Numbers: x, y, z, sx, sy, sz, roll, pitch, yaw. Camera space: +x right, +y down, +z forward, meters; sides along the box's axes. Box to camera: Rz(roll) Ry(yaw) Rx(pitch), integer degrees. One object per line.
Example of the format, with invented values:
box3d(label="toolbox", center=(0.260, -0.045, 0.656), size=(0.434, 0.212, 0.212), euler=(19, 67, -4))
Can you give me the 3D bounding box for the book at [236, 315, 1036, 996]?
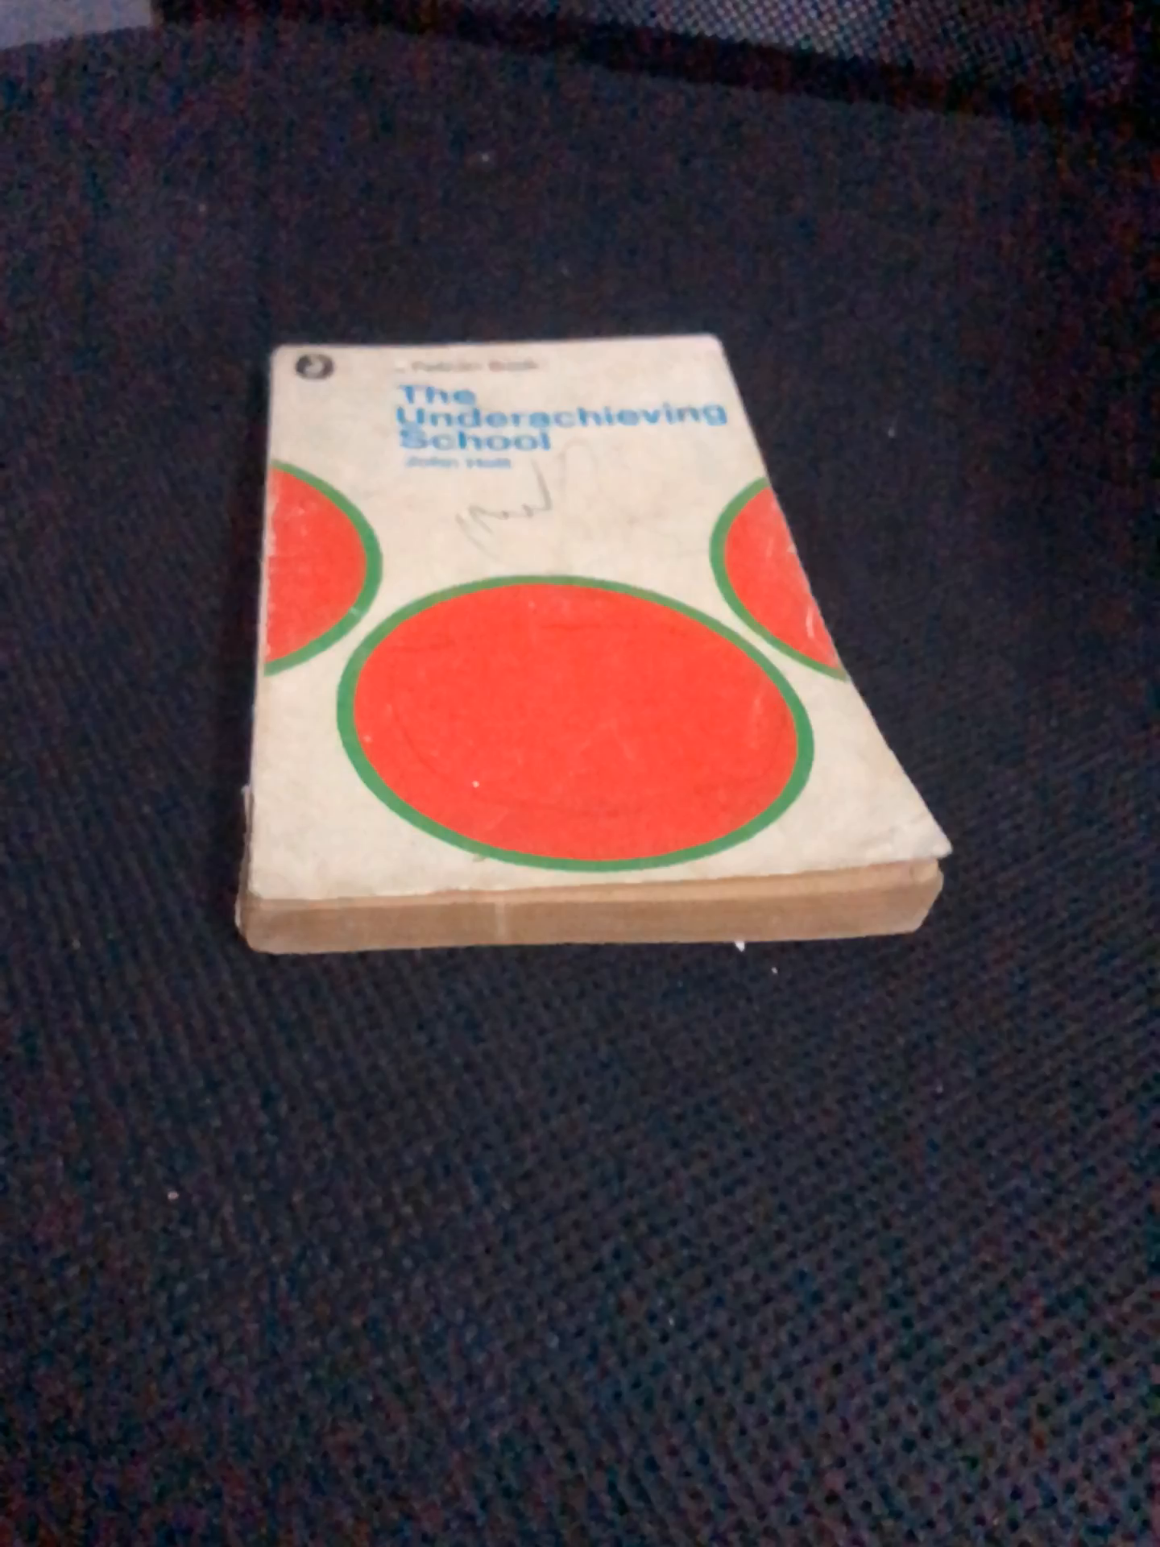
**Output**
box3d(label="book", center=(-0.002, -0.040, 0.261), size=(0.120, 0.020, 0.182), euler=(-2, 45, -9))
